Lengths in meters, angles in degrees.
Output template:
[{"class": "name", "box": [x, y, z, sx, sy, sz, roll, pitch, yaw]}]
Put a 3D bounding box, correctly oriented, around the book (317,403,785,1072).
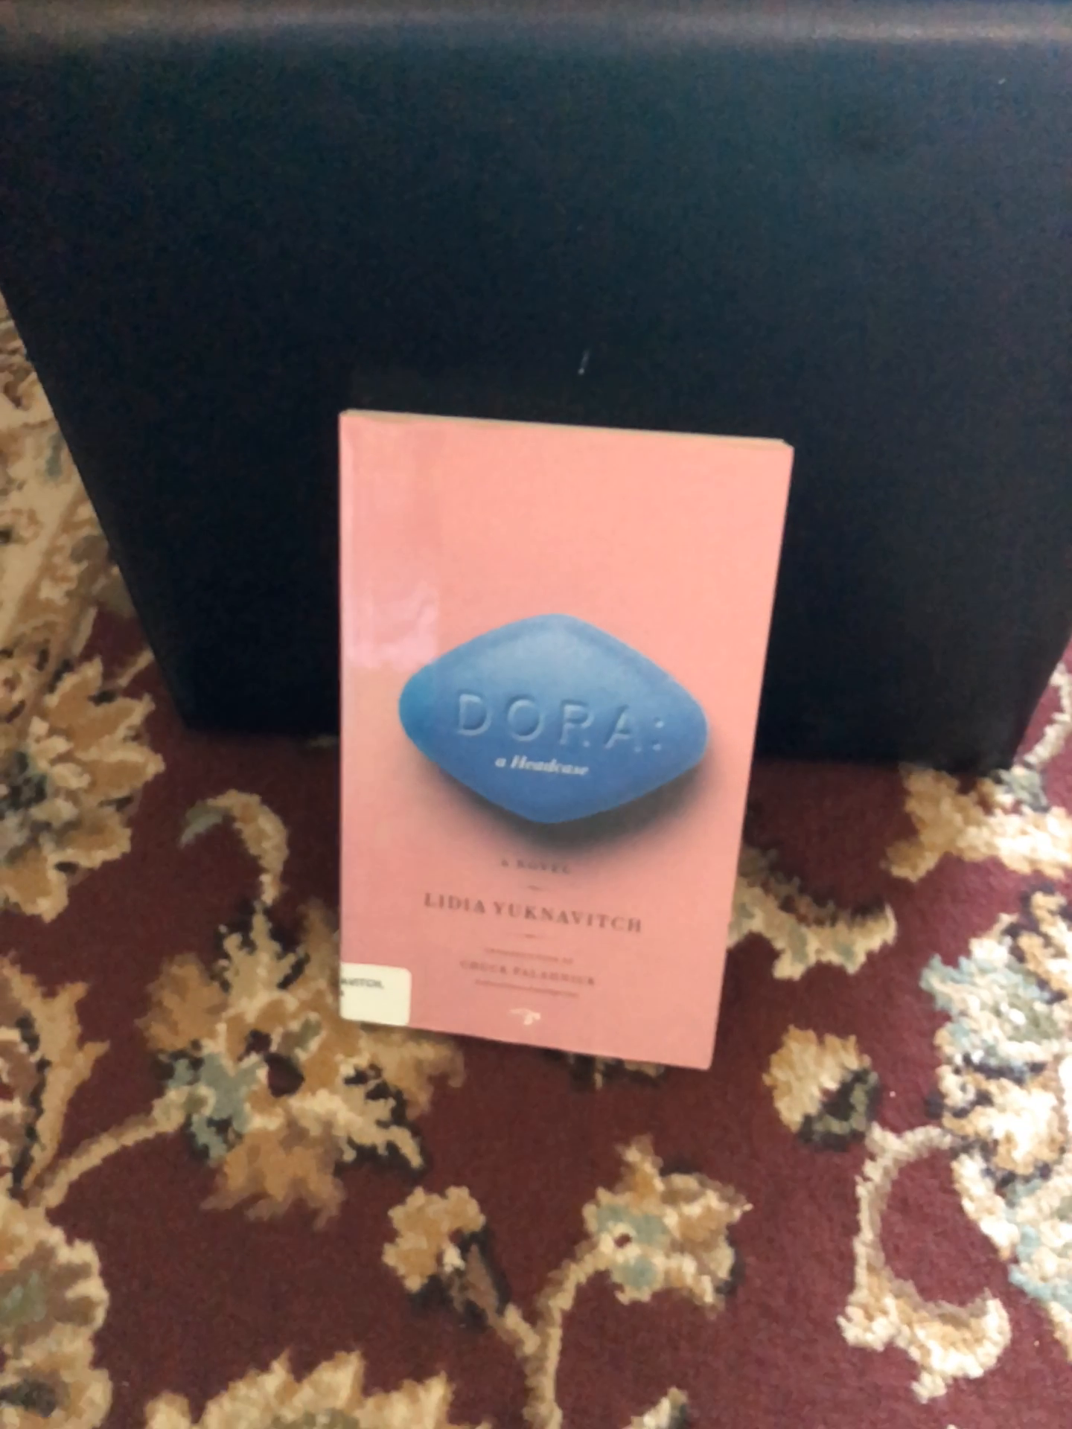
[{"class": "book", "box": [-0.002, 0.014, 0.432, 0.149, 0.231, 0.030, 6, 21, 6]}]
